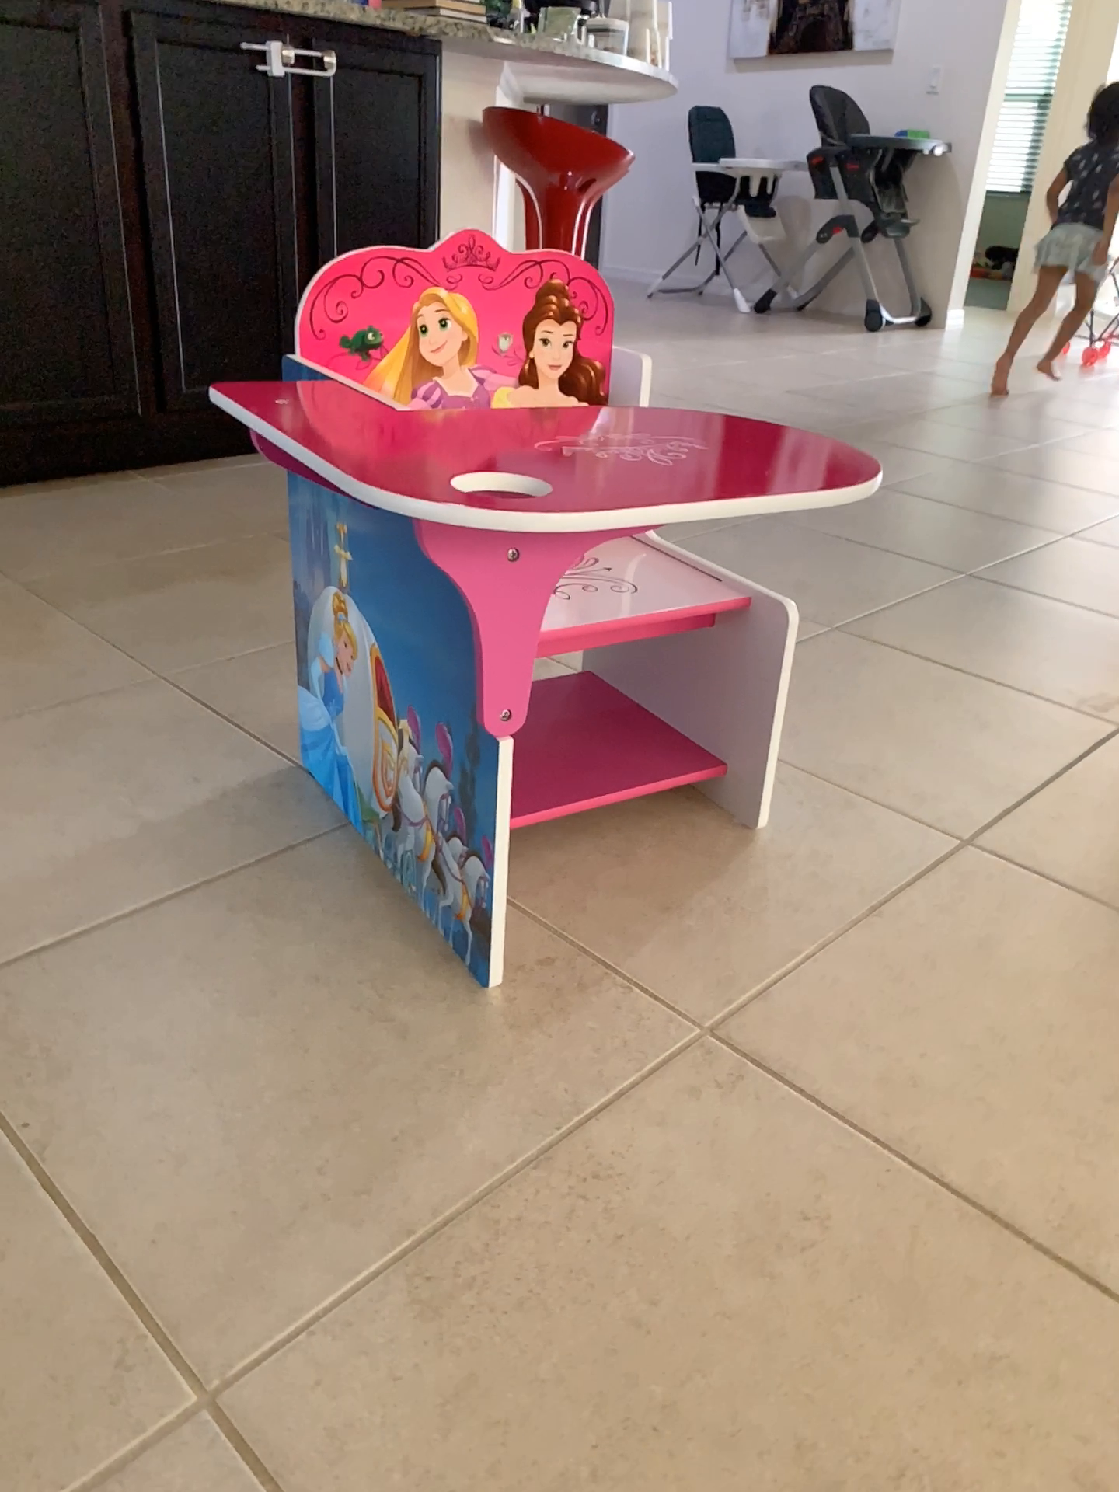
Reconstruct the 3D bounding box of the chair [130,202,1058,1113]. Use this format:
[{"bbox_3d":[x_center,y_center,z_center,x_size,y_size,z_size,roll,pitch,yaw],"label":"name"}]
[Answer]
[{"bbox_3d":[-0.015,-0.156,1.043,0.533,0.567,0.551,-13,30,-32],"label":"chair"}]
